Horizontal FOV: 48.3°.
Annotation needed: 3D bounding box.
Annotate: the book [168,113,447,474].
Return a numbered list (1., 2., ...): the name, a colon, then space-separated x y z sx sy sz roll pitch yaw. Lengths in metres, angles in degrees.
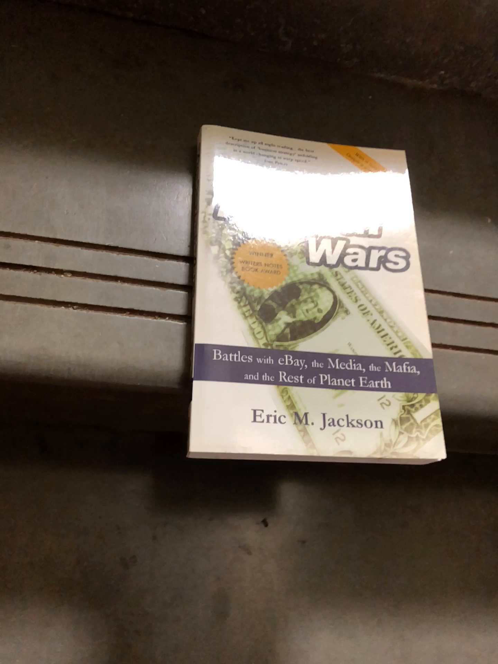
1. book: 0.032 -0.028 0.345 0.150 0.030 0.220 4 68 -11
